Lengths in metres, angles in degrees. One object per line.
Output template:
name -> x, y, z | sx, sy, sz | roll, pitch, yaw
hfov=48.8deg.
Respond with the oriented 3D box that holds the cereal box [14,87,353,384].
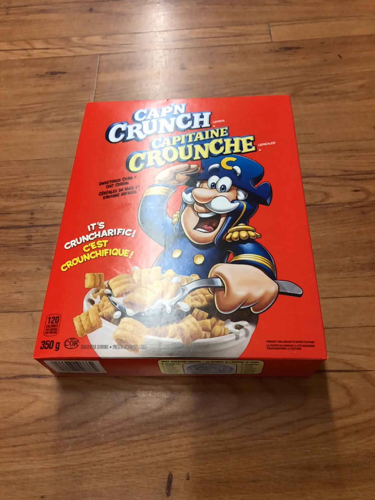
cereal box -> -0.001, -0.025, 0.359 | 0.220, 0.060, 0.261 | -1, 60, 4
